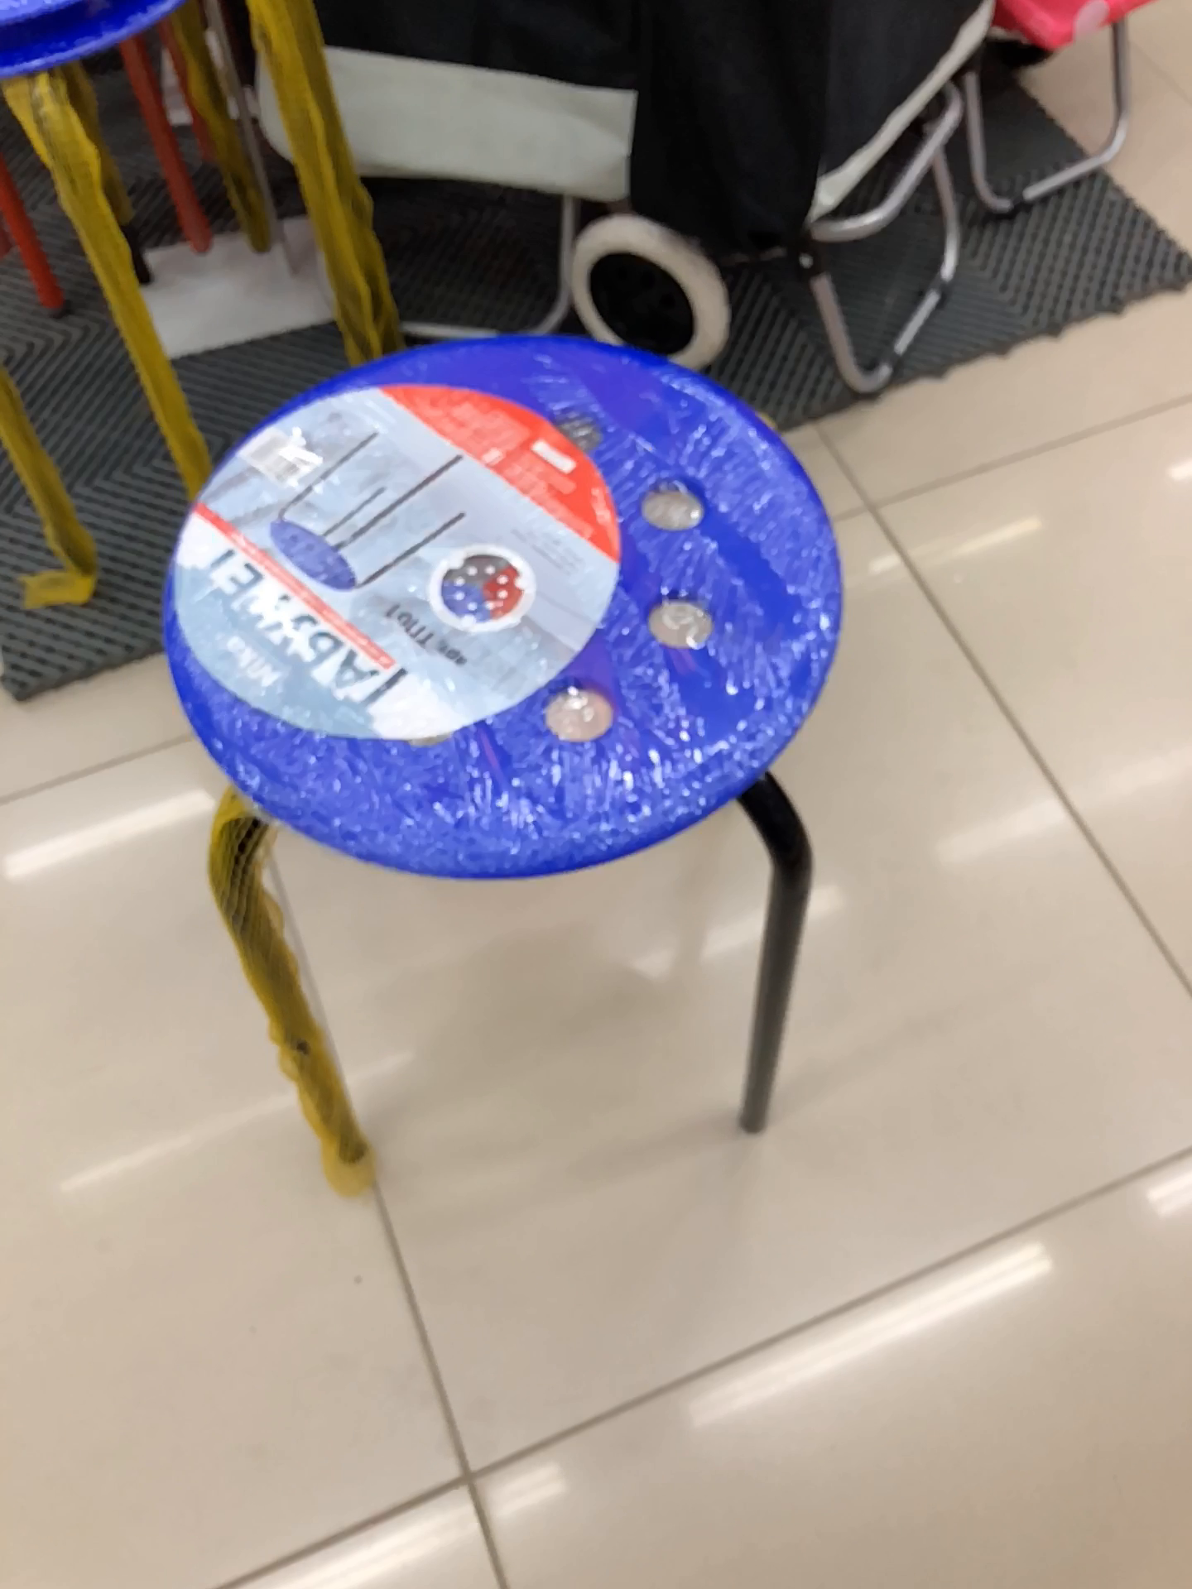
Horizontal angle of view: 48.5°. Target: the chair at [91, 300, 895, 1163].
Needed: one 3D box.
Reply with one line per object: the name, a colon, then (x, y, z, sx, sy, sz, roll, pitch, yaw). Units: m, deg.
chair: (-0.045, -0.004, 0.792, 0.320, 0.427, 0.325, -3, 61, -1)
